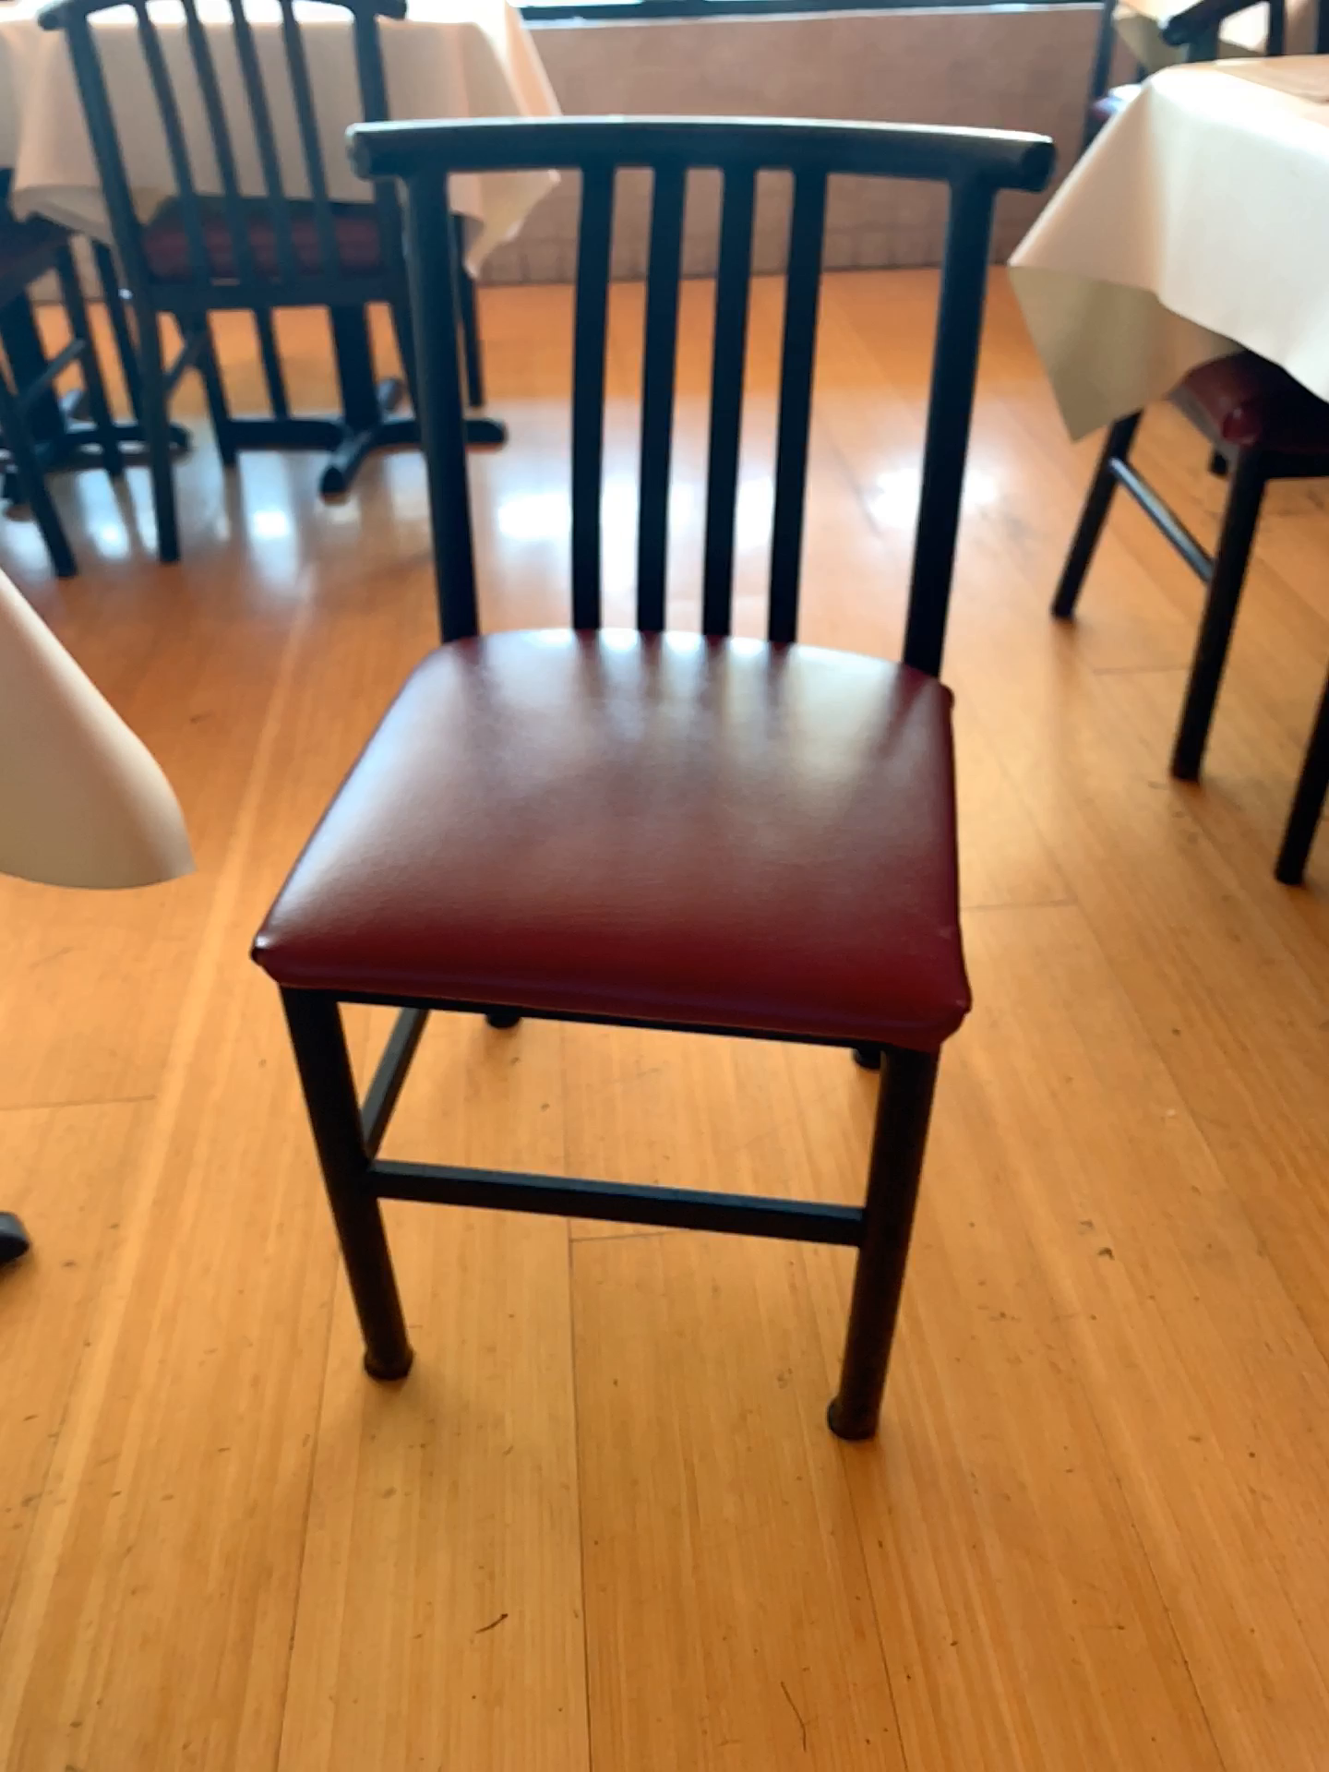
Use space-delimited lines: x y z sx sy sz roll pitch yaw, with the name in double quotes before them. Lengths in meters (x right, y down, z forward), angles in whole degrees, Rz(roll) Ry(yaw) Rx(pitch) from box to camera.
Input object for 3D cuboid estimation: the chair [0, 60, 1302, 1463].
"chair" 0.006 -0.098 0.940 0.480 0.726 0.573 5 38 4
